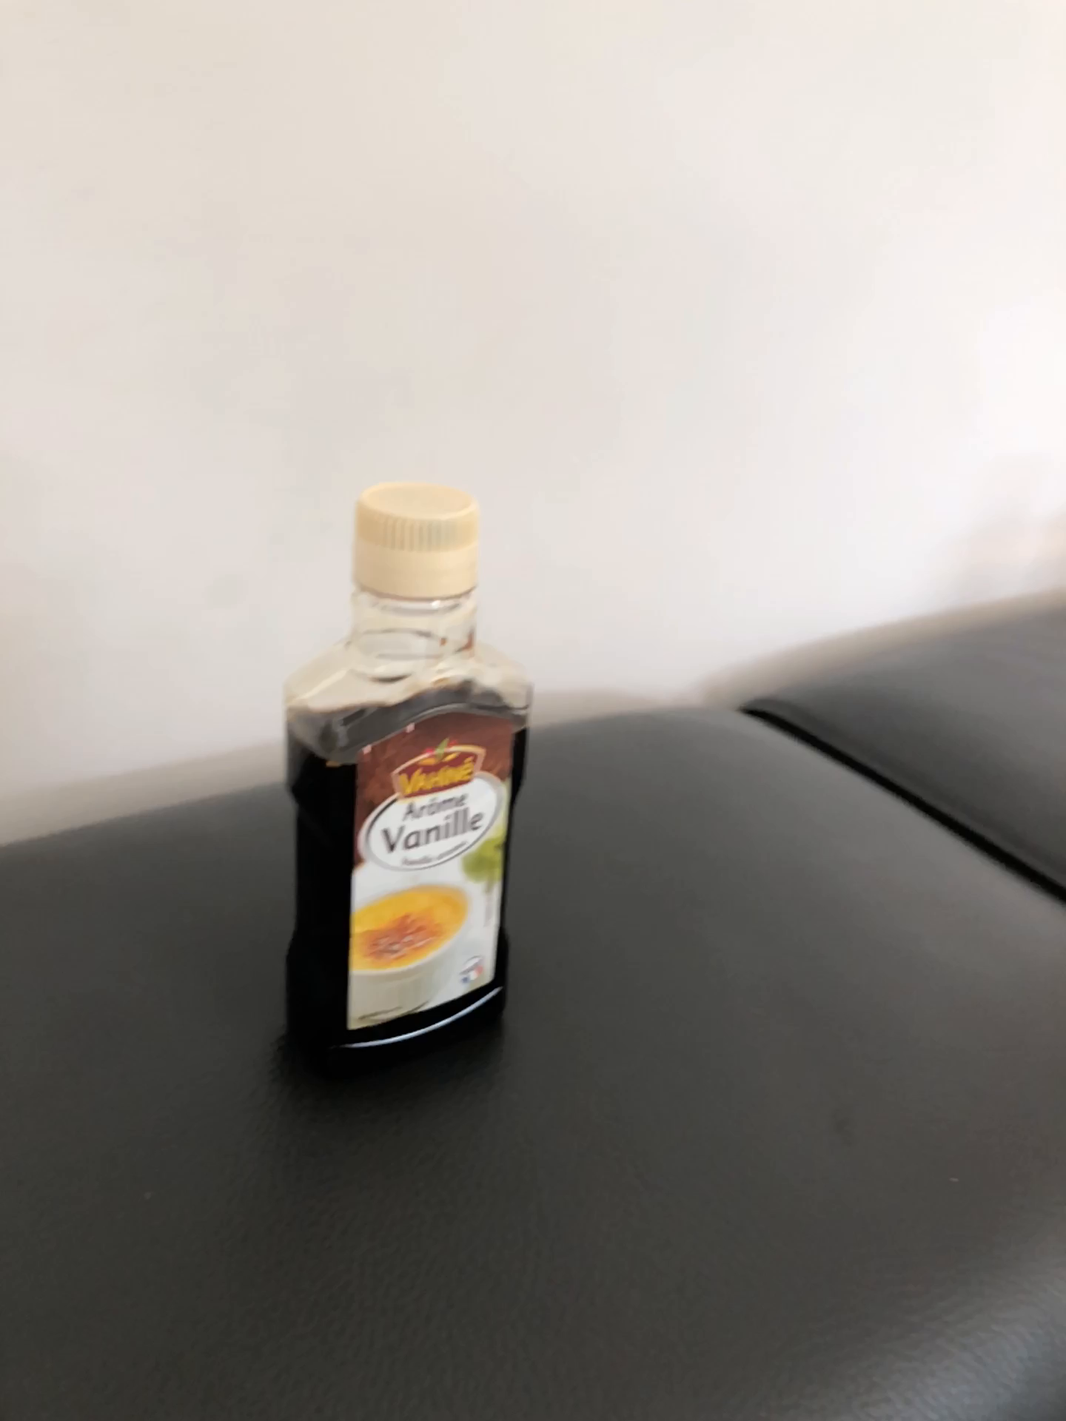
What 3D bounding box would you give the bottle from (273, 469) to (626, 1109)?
[{"bbox_3d":[-0.026,0.021,0.319,0.070,0.159,0.040,-11,30,-34],"label":"bottle"}]
